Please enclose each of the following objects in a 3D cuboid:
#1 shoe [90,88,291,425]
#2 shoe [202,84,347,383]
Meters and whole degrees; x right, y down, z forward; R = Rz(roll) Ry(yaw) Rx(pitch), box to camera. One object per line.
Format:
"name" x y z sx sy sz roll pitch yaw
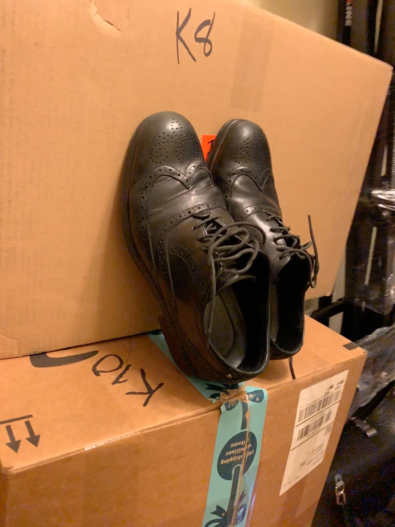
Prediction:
"shoe" 0.000 -0.013 0.402 0.120 0.279 0.100 -19 15 -38
"shoe" 0.084 -0.032 0.458 0.120 0.280 0.100 -5 8 -39
